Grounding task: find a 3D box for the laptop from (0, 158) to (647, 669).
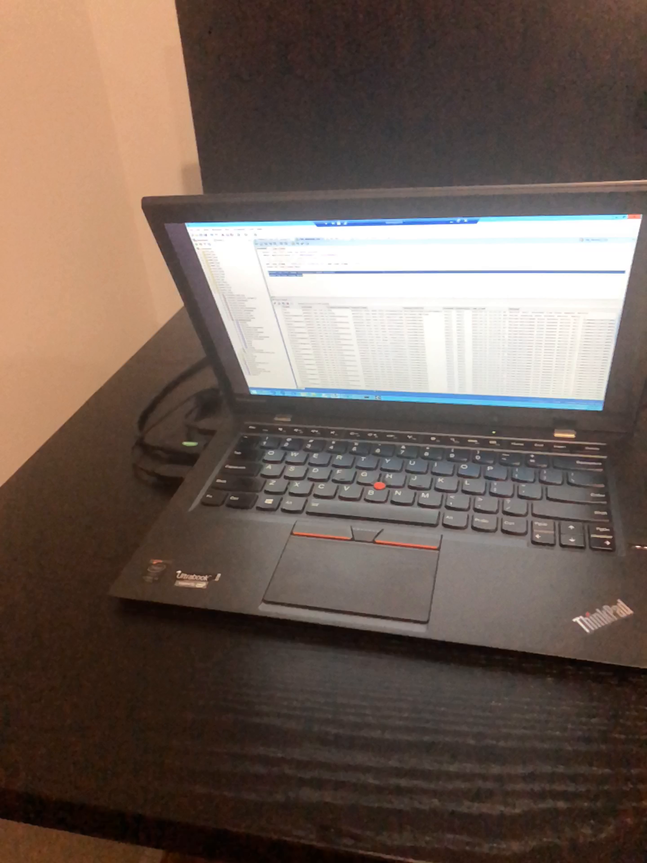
[{"bbox_3d":[0.039,-0.039,0.467,0.340,0.214,0.245,3,30,15],"label":"laptop"}]
